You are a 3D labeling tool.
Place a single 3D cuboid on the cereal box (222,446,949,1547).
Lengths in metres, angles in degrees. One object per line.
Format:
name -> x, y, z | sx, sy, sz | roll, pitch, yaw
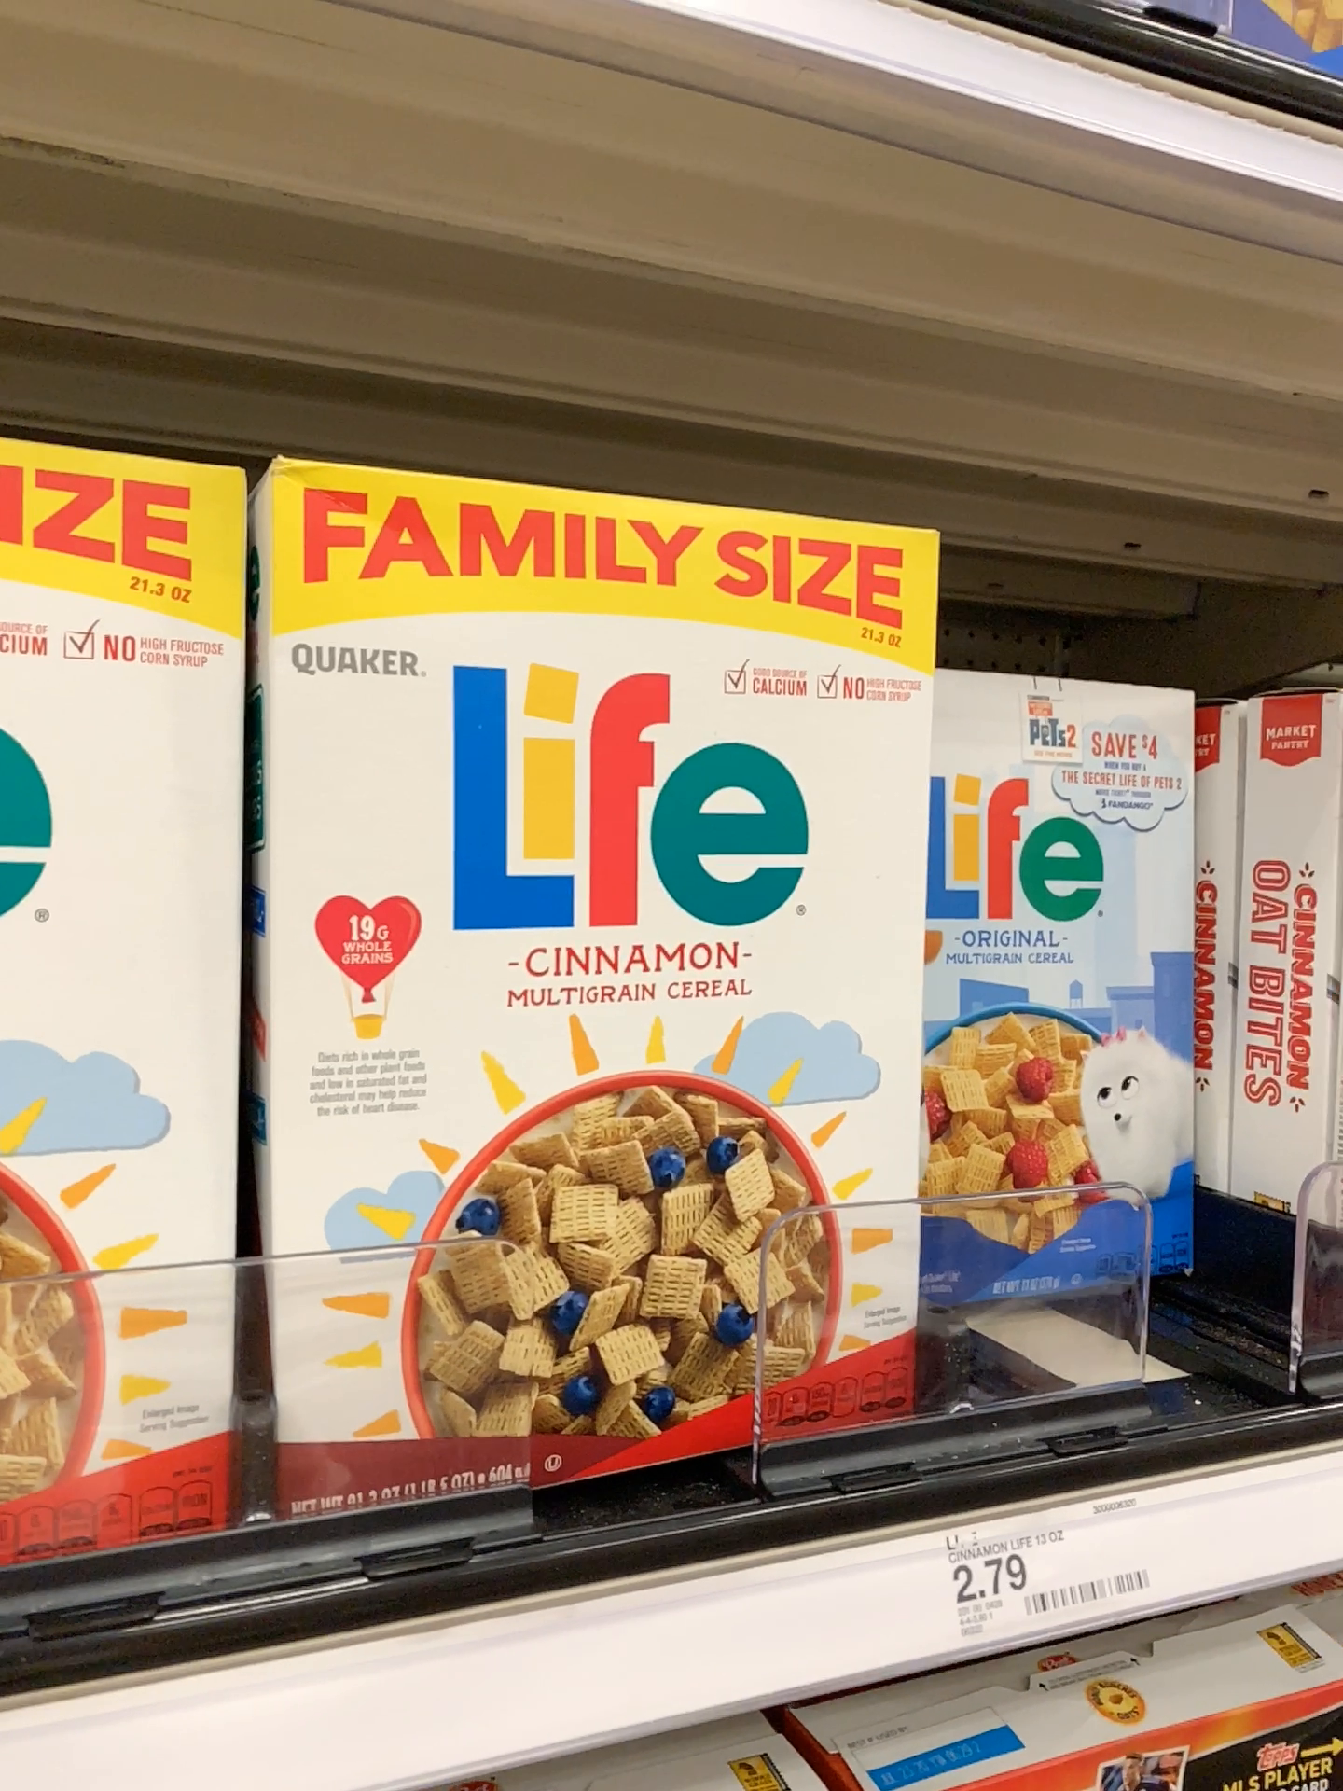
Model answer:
cereal box -> -0.025, 0.023, 0.391 | 0.190, 0.260, 0.070 | 0, 3, -21
